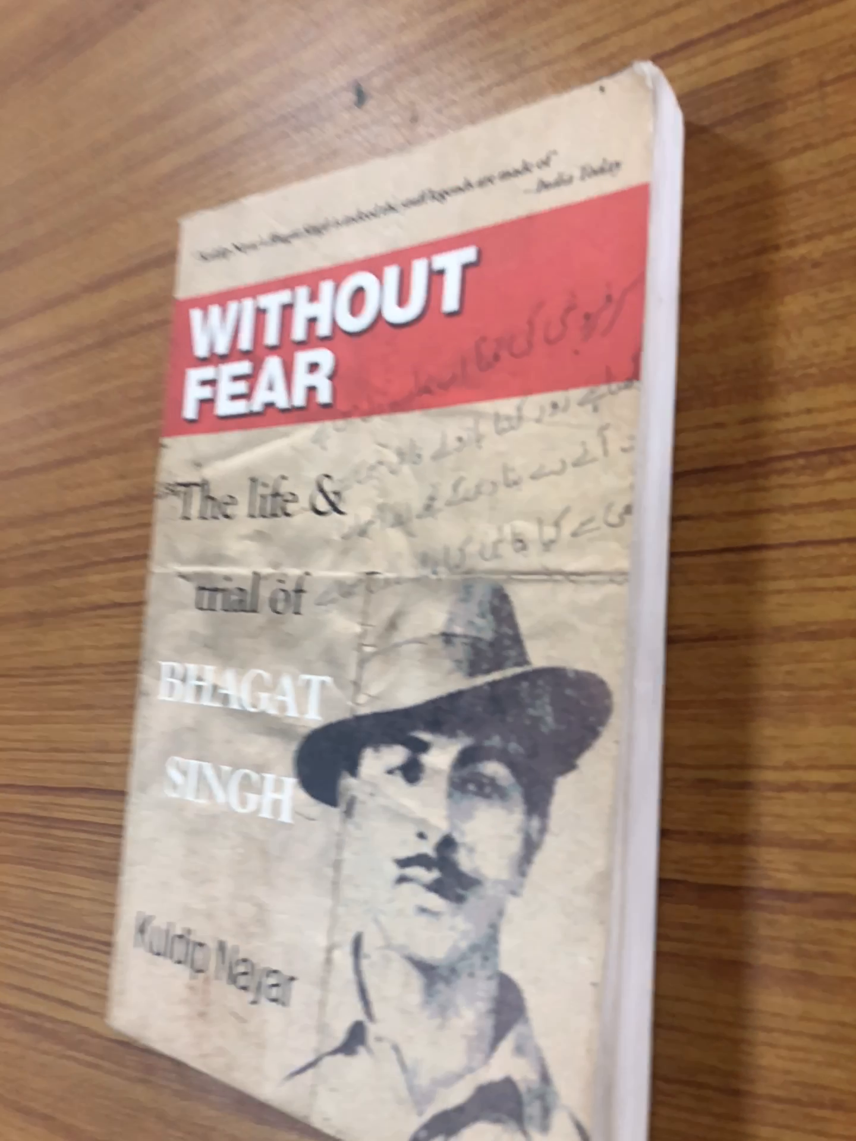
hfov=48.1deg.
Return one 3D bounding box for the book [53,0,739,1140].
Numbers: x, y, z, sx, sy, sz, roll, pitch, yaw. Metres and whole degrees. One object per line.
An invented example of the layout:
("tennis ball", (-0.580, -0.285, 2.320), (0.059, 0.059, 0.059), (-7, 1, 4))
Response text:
("book", (-0.014, 0.006, 0.201), (0.141, 0.030, 0.210), (0, 83, 37))
